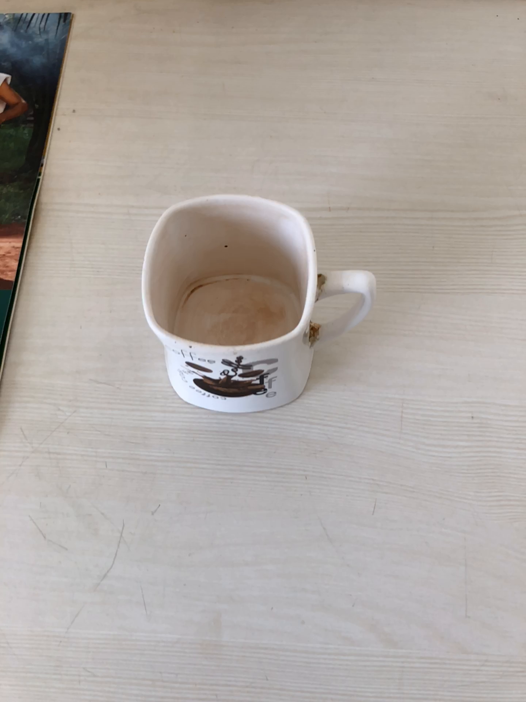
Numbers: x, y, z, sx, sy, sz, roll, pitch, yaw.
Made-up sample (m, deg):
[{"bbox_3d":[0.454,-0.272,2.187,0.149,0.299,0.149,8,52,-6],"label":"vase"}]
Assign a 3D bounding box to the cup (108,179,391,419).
[{"bbox_3d":[-0.003,-0.017,0.232,0.090,0.070,0.070,0,68,2],"label":"cup"}]
